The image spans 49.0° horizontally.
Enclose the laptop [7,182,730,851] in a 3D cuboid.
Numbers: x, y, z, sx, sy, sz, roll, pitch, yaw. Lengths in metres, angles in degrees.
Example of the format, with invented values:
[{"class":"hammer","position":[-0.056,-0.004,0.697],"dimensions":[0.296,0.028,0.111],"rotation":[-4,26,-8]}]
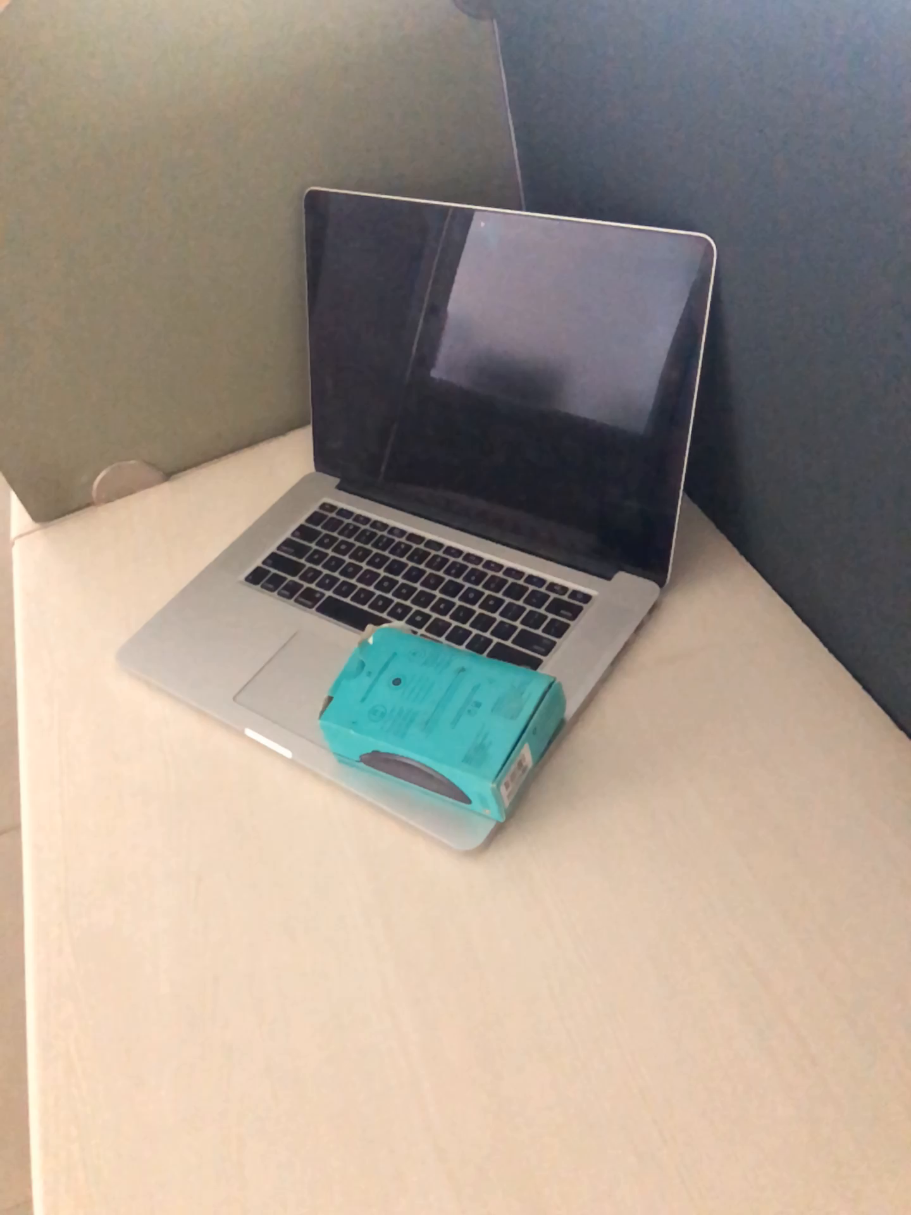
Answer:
[{"class":"laptop","position":[-0.042,-0.096,0.690],"dimensions":[0.329,0.200,0.339],"rotation":[23,58,34]}]
